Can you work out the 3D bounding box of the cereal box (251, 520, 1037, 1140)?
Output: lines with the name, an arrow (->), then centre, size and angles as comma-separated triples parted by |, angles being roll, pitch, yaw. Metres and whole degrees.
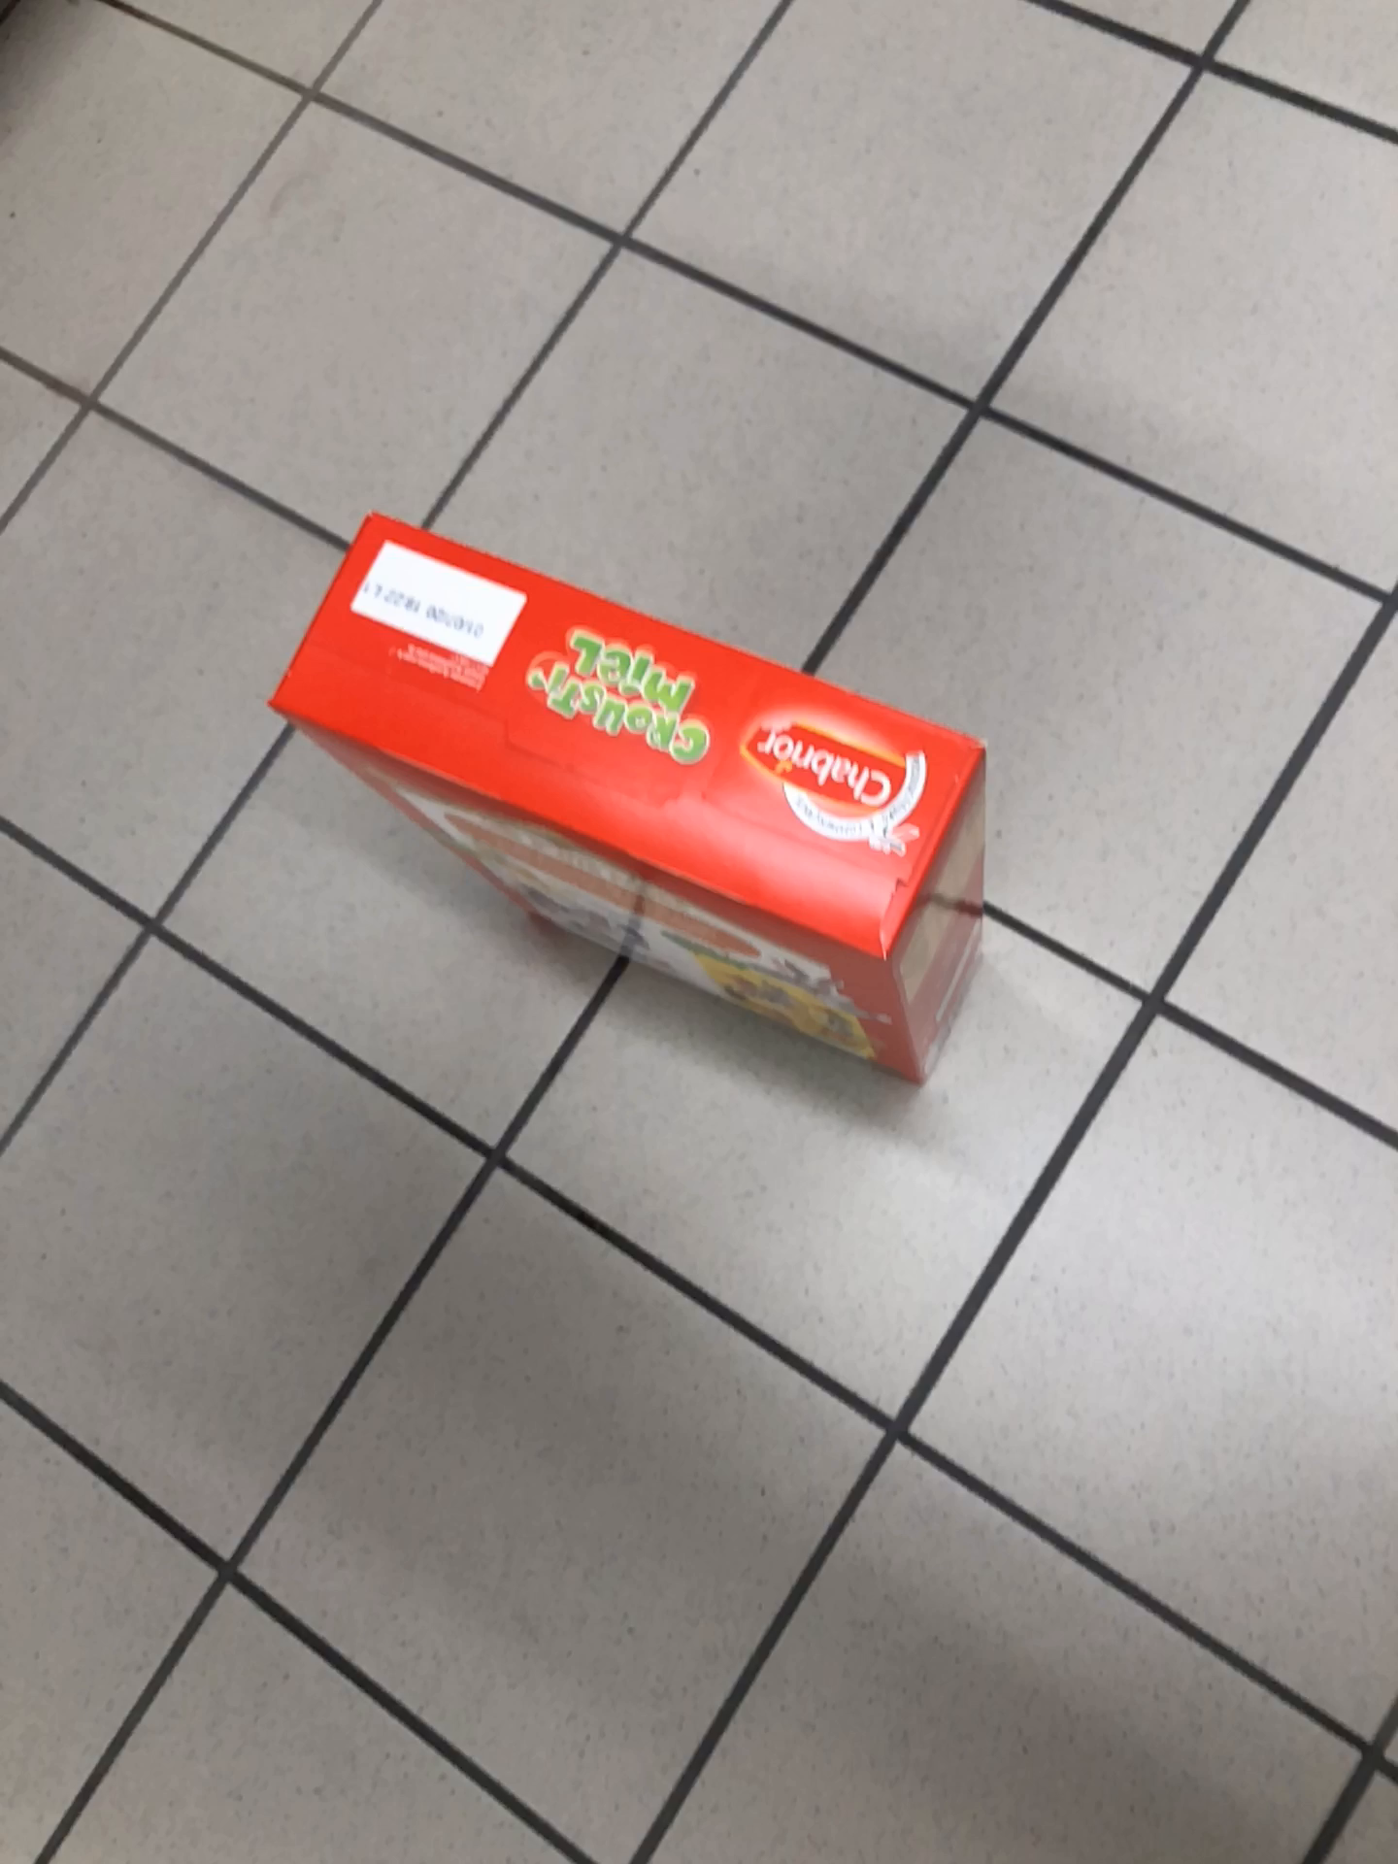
cereal box -> 0.004, -0.015, 0.534 | 0.200, 0.270, 0.070 | 23, 82, 15
